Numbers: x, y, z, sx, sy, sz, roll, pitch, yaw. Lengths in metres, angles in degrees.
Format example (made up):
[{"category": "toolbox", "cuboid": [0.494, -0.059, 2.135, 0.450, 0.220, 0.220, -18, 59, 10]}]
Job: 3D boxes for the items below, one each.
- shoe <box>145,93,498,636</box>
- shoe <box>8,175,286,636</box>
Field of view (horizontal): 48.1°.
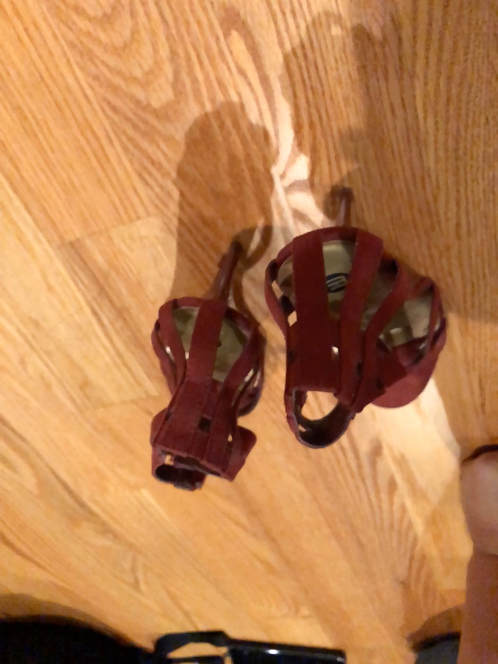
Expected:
[{"category": "shoe", "cuboid": [0.058, 0.020, 0.290, 0.085, 0.175, 0.207, -13, 126, 21]}, {"category": "shoe", "cuboid": [-0.040, 0.043, 0.334, 0.085, 0.175, 0.200, 9, 131, 4]}]
